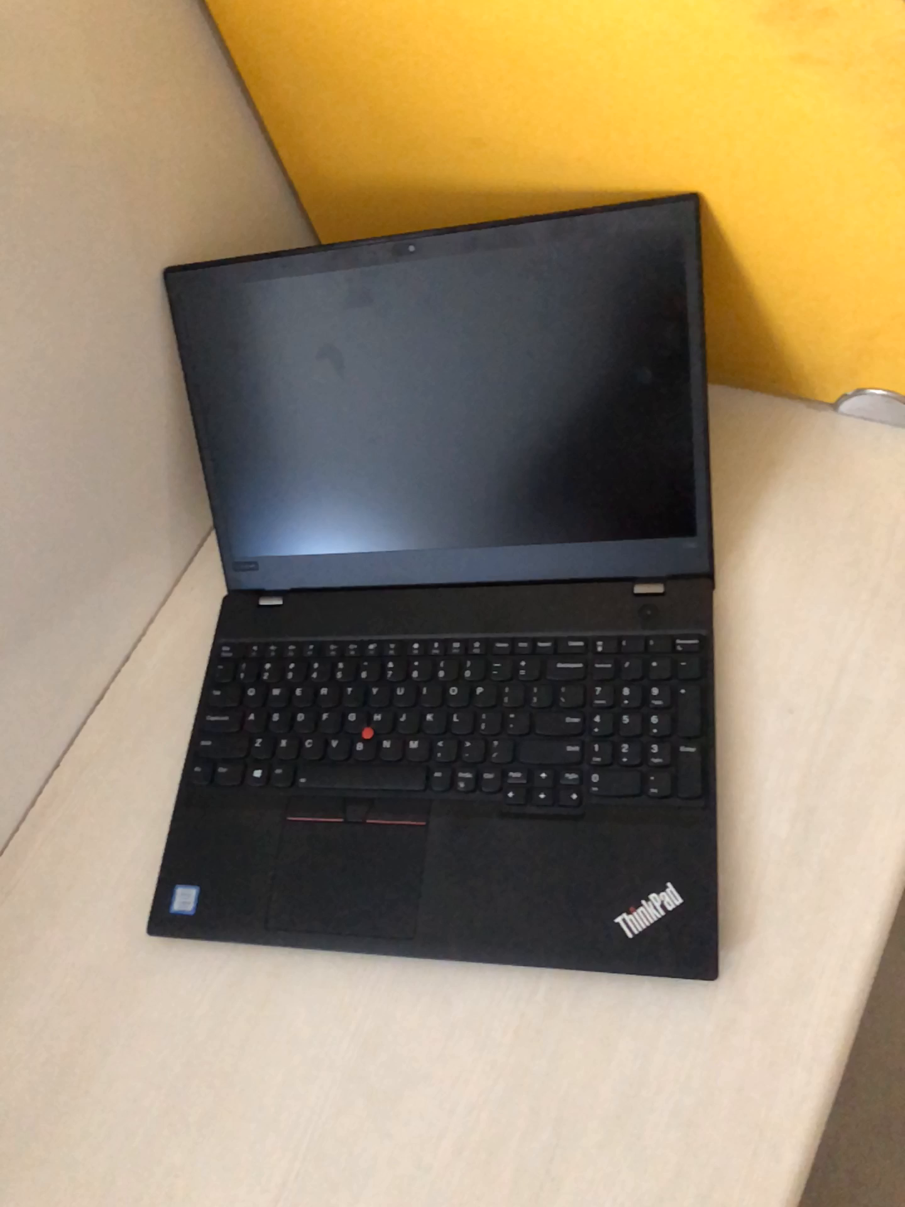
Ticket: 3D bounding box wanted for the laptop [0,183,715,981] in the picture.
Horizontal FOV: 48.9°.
[{"bbox_3d":[-0.027,-0.019,0.606,0.345,0.150,0.421,-2,64,15],"label":"laptop"}]
